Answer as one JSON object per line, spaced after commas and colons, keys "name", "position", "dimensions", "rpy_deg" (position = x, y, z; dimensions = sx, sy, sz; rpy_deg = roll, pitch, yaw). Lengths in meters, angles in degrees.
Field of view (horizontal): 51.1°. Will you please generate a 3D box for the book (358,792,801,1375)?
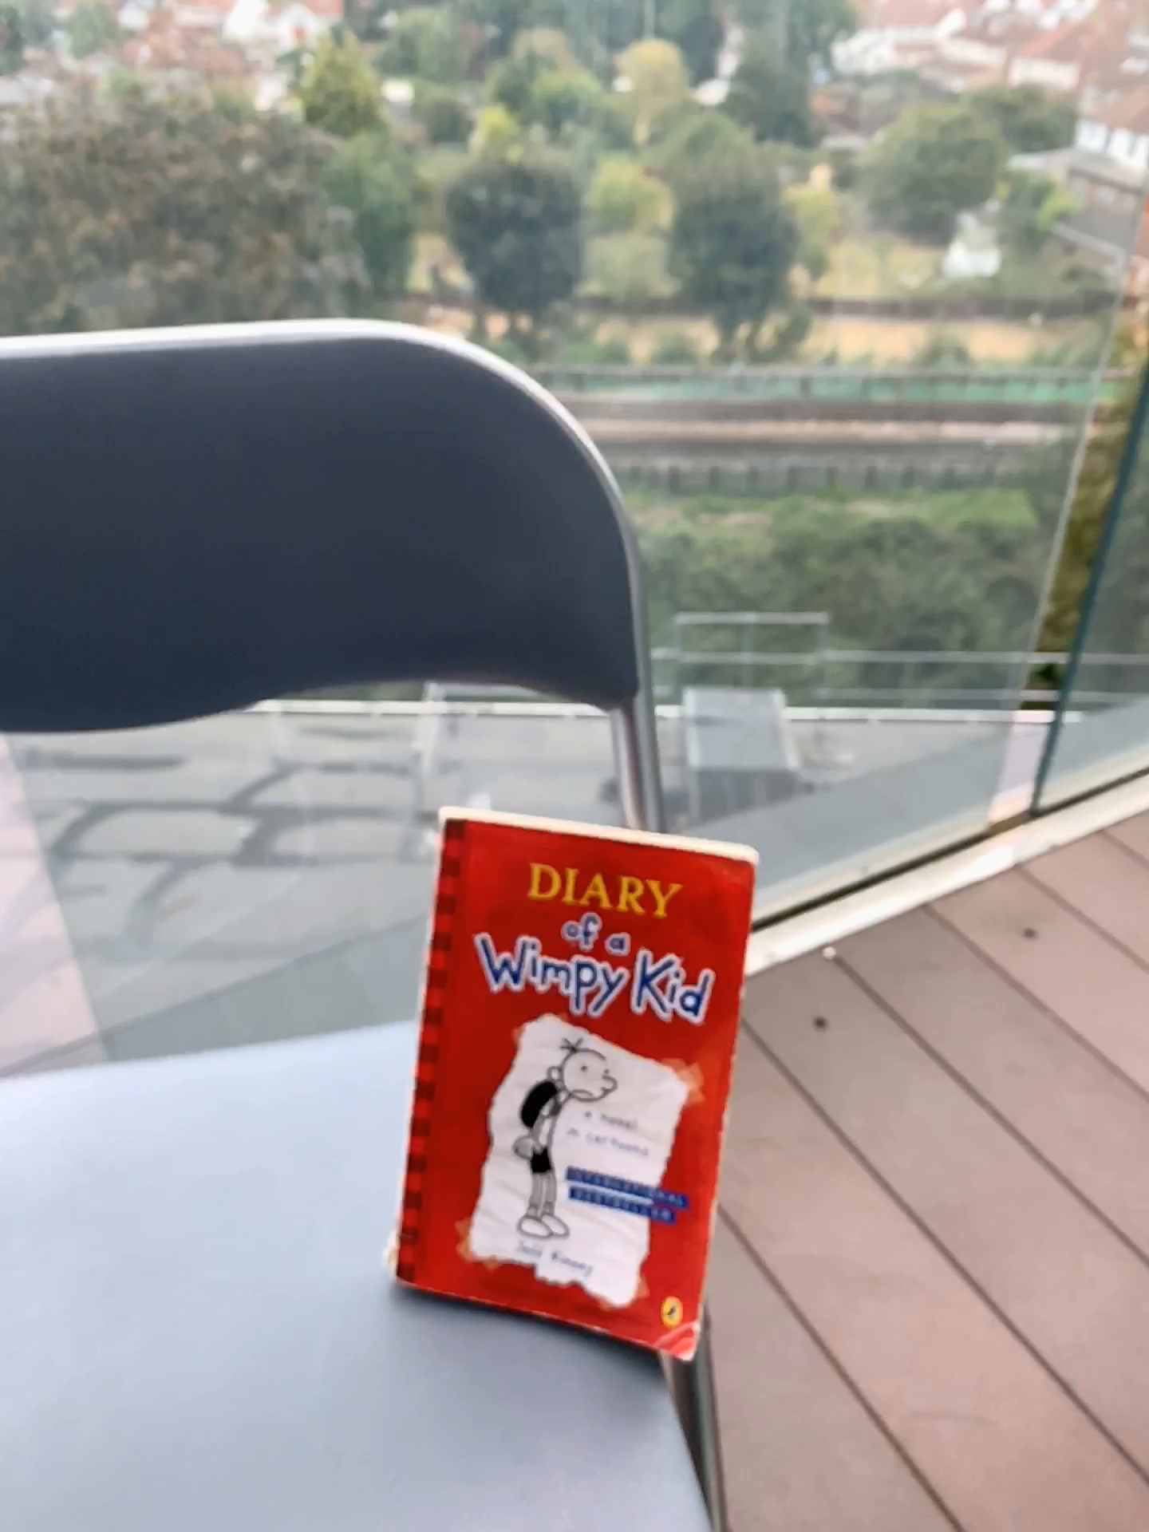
{"name": "book", "position": [0.002, 0.122, 0.487], "dimensions": [0.150, 0.200, 0.040], "rpy_deg": [8, 3, 11]}
